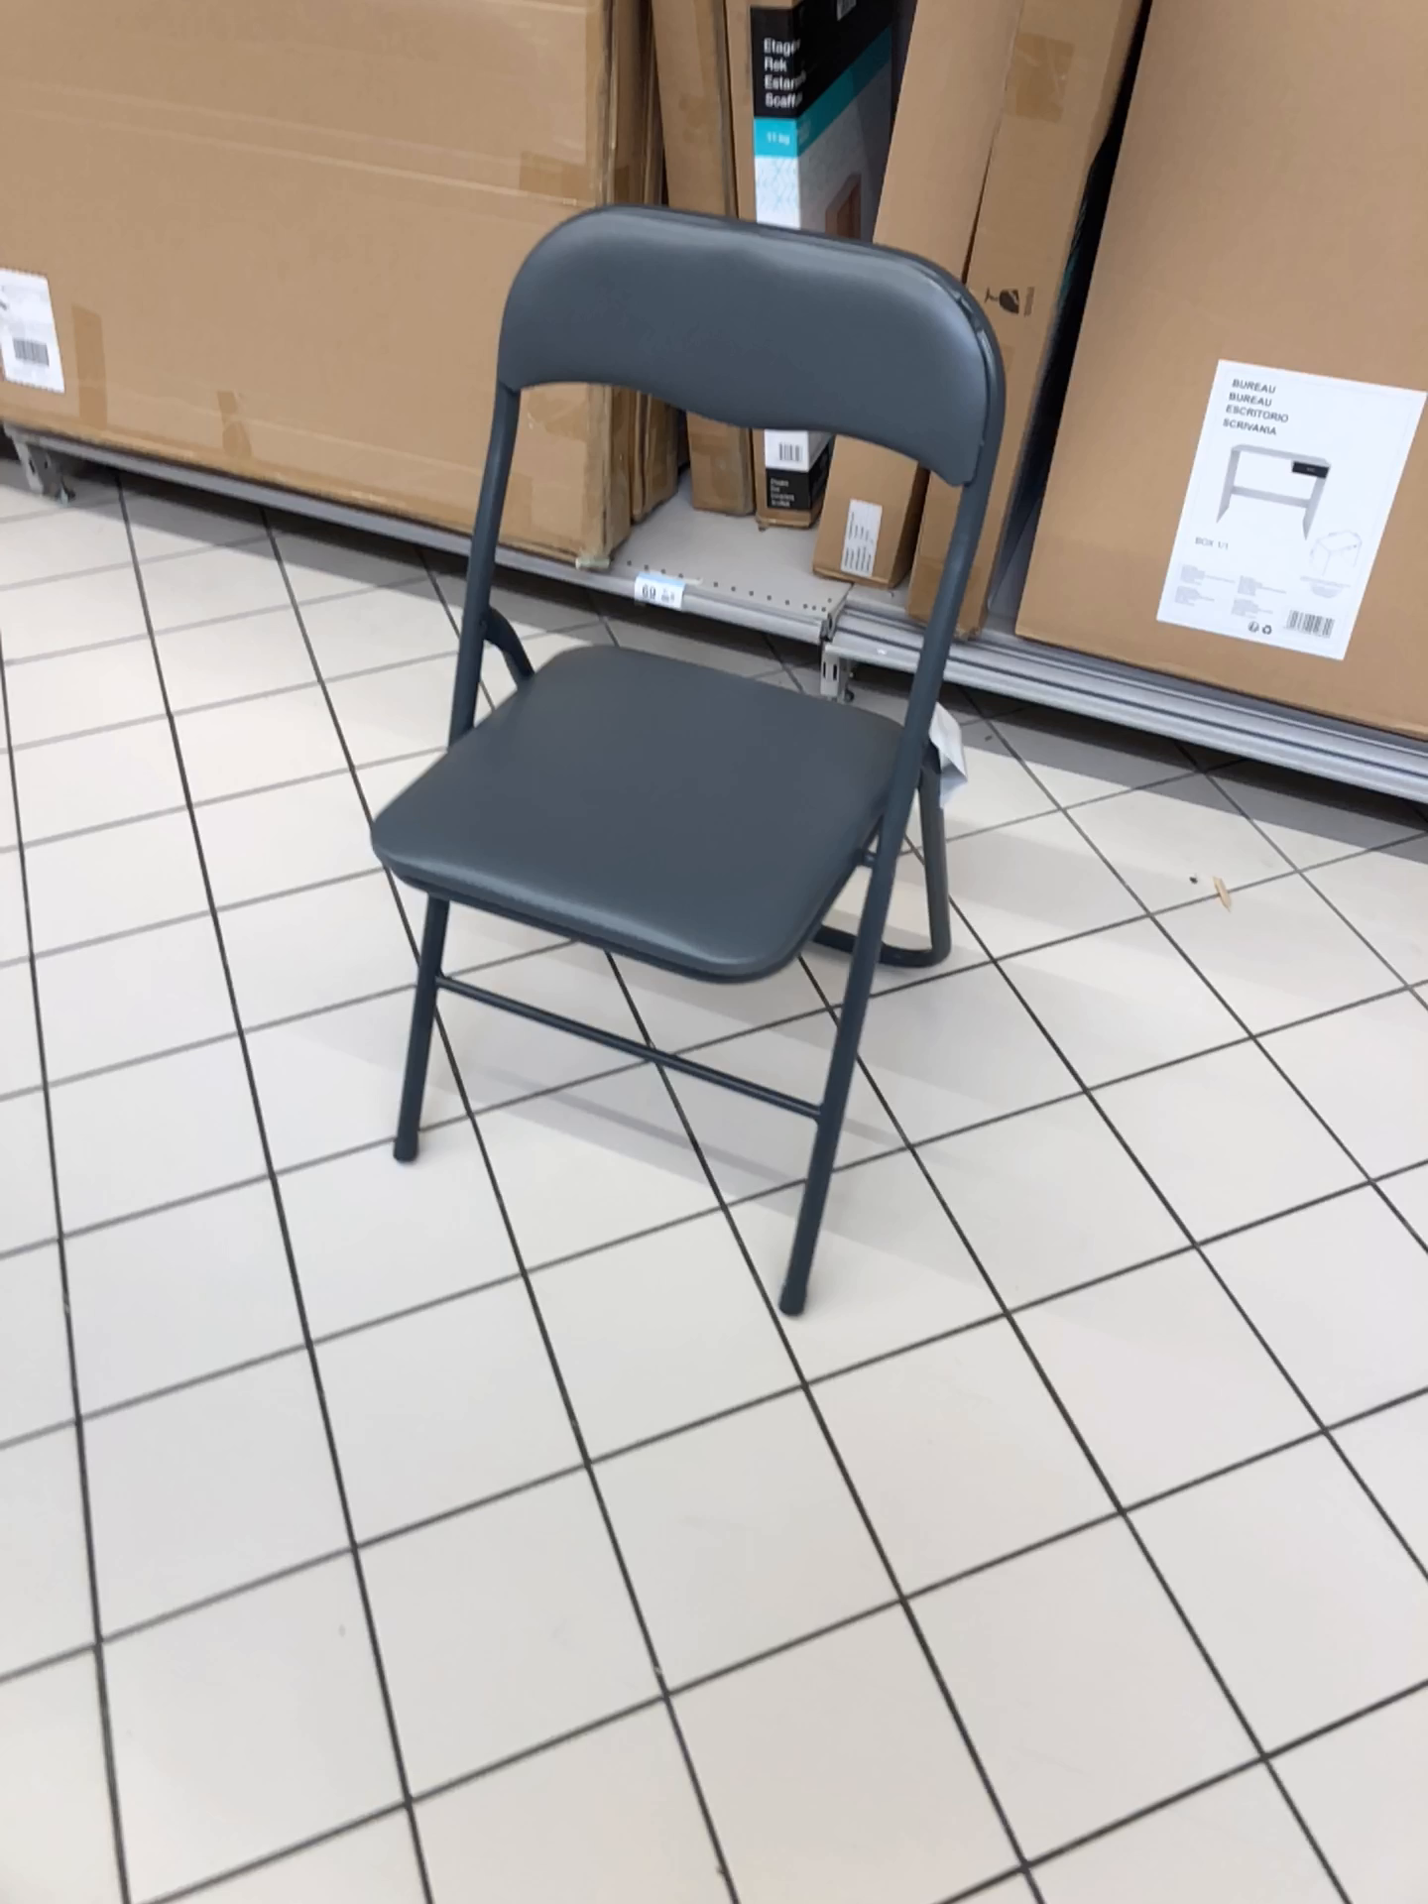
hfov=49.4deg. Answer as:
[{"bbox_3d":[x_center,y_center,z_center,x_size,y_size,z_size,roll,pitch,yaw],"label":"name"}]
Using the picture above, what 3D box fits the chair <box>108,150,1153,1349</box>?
[{"bbox_3d":[-0.035,-0.165,1.337,0.550,0.755,0.503,19,48,17],"label":"chair"}]
